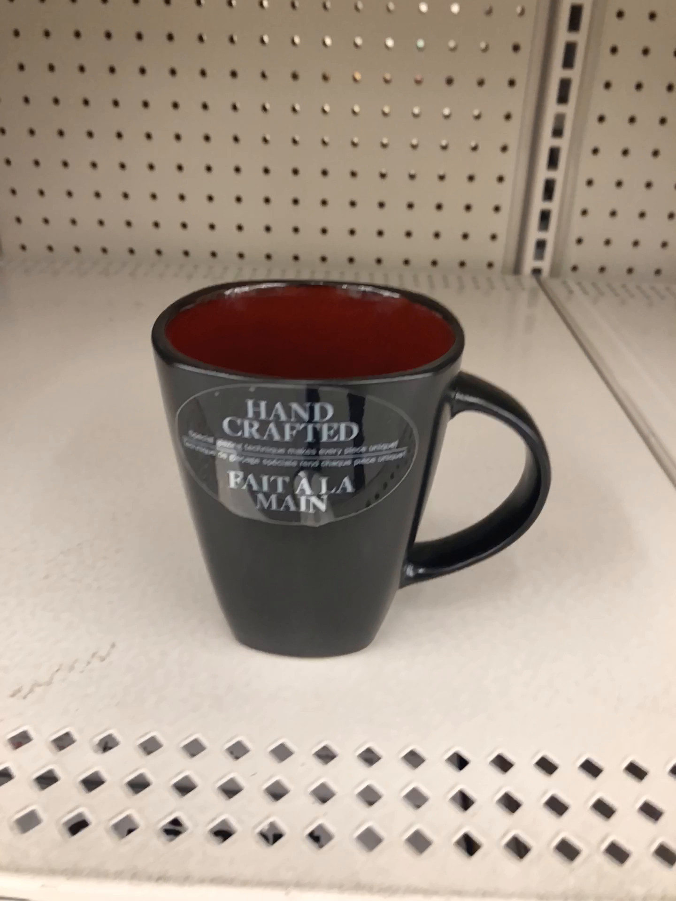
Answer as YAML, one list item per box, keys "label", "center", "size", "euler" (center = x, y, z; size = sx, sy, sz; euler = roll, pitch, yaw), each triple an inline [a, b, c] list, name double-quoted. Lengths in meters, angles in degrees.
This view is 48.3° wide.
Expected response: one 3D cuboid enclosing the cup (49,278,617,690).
- label: "cup"
  center: [-0.002, 0.006, 0.256]
  size: [0.143, 0.099, 0.100]
  euler: [1, 29, 0]
